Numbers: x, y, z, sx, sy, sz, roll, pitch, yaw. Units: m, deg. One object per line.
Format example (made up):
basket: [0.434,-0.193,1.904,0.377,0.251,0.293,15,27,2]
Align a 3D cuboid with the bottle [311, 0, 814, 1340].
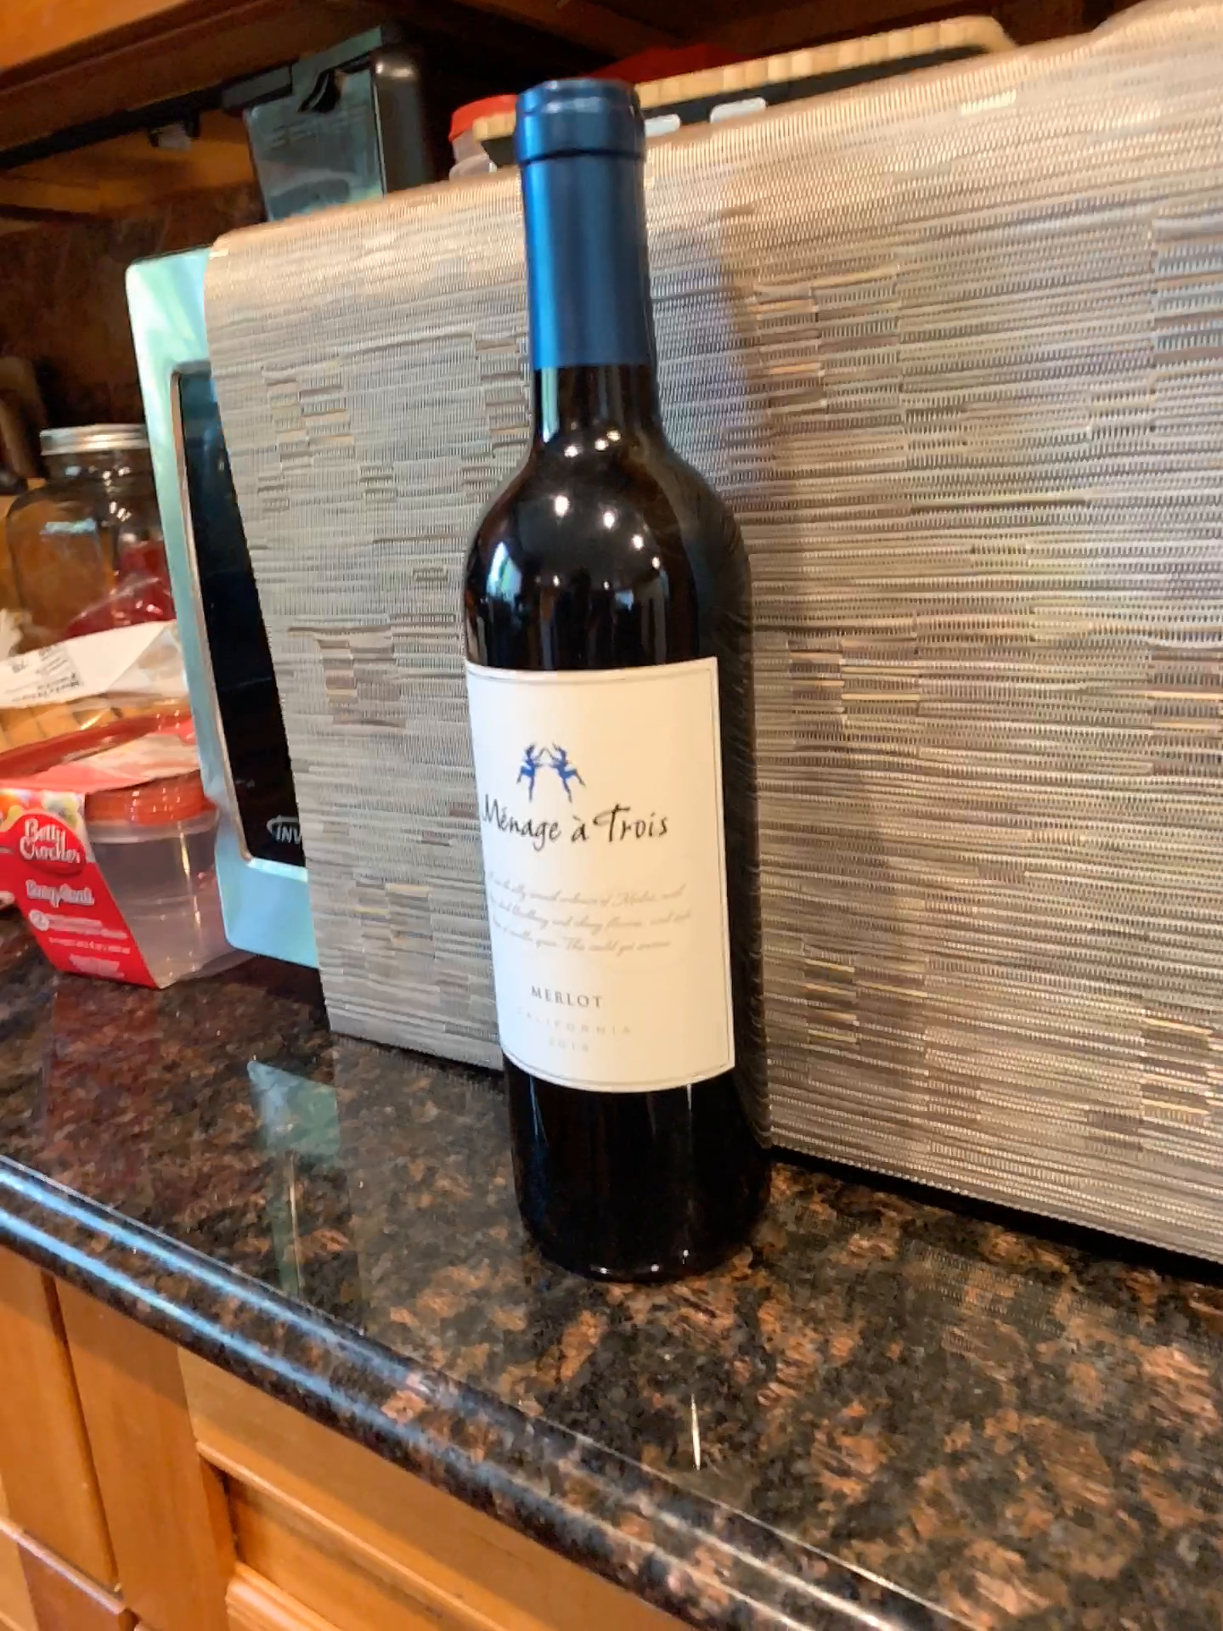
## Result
bottle: [-0.002,-0.030,0.332,0.080,0.309,0.080,-3,16,1]
